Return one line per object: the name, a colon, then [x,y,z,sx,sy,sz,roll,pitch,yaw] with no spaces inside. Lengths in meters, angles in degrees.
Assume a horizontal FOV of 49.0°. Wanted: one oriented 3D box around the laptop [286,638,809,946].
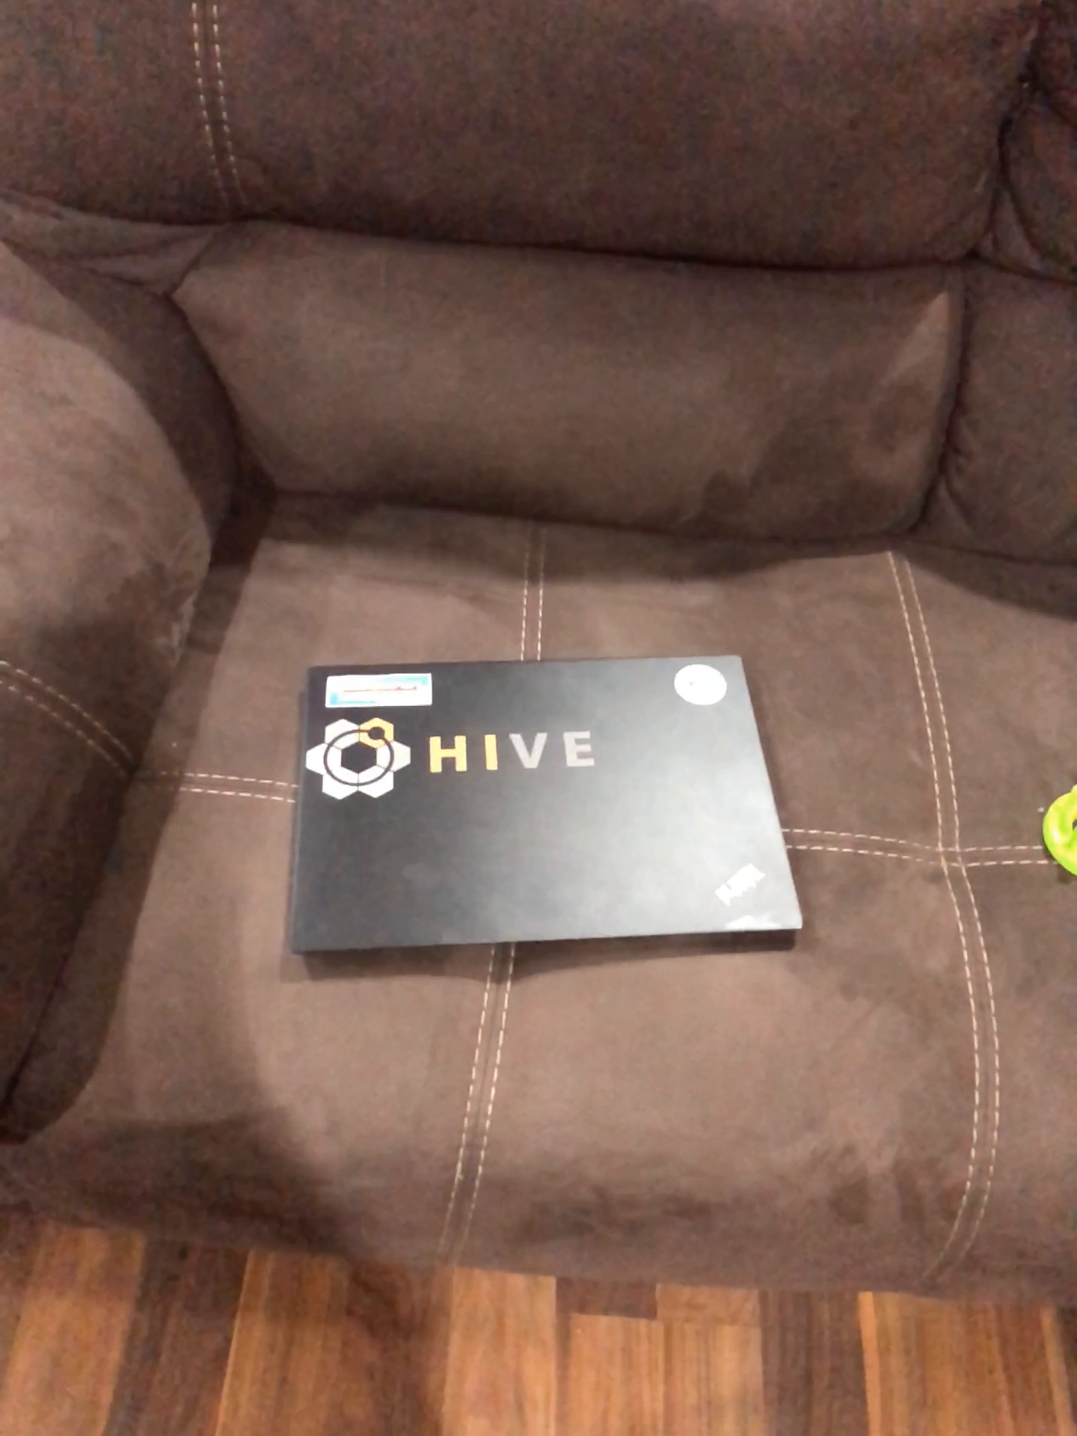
laptop: [0.000,0.042,0.822,0.328,0.019,0.236,-2,52,-3]
